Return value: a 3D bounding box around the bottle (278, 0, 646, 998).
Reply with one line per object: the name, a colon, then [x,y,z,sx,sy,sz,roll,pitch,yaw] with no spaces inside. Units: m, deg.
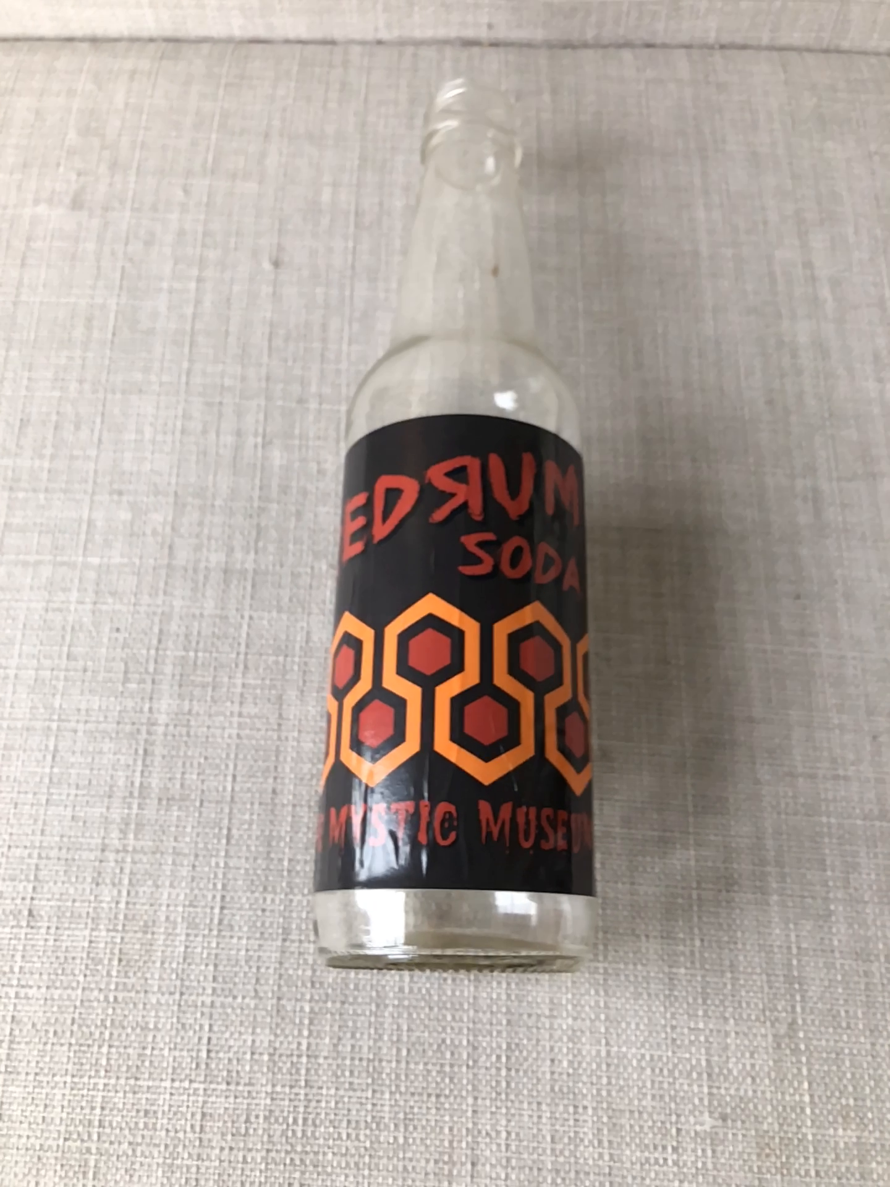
bottle: [0.006,-0.031,0.239,0.062,0.070,0.231,0,72,3]
